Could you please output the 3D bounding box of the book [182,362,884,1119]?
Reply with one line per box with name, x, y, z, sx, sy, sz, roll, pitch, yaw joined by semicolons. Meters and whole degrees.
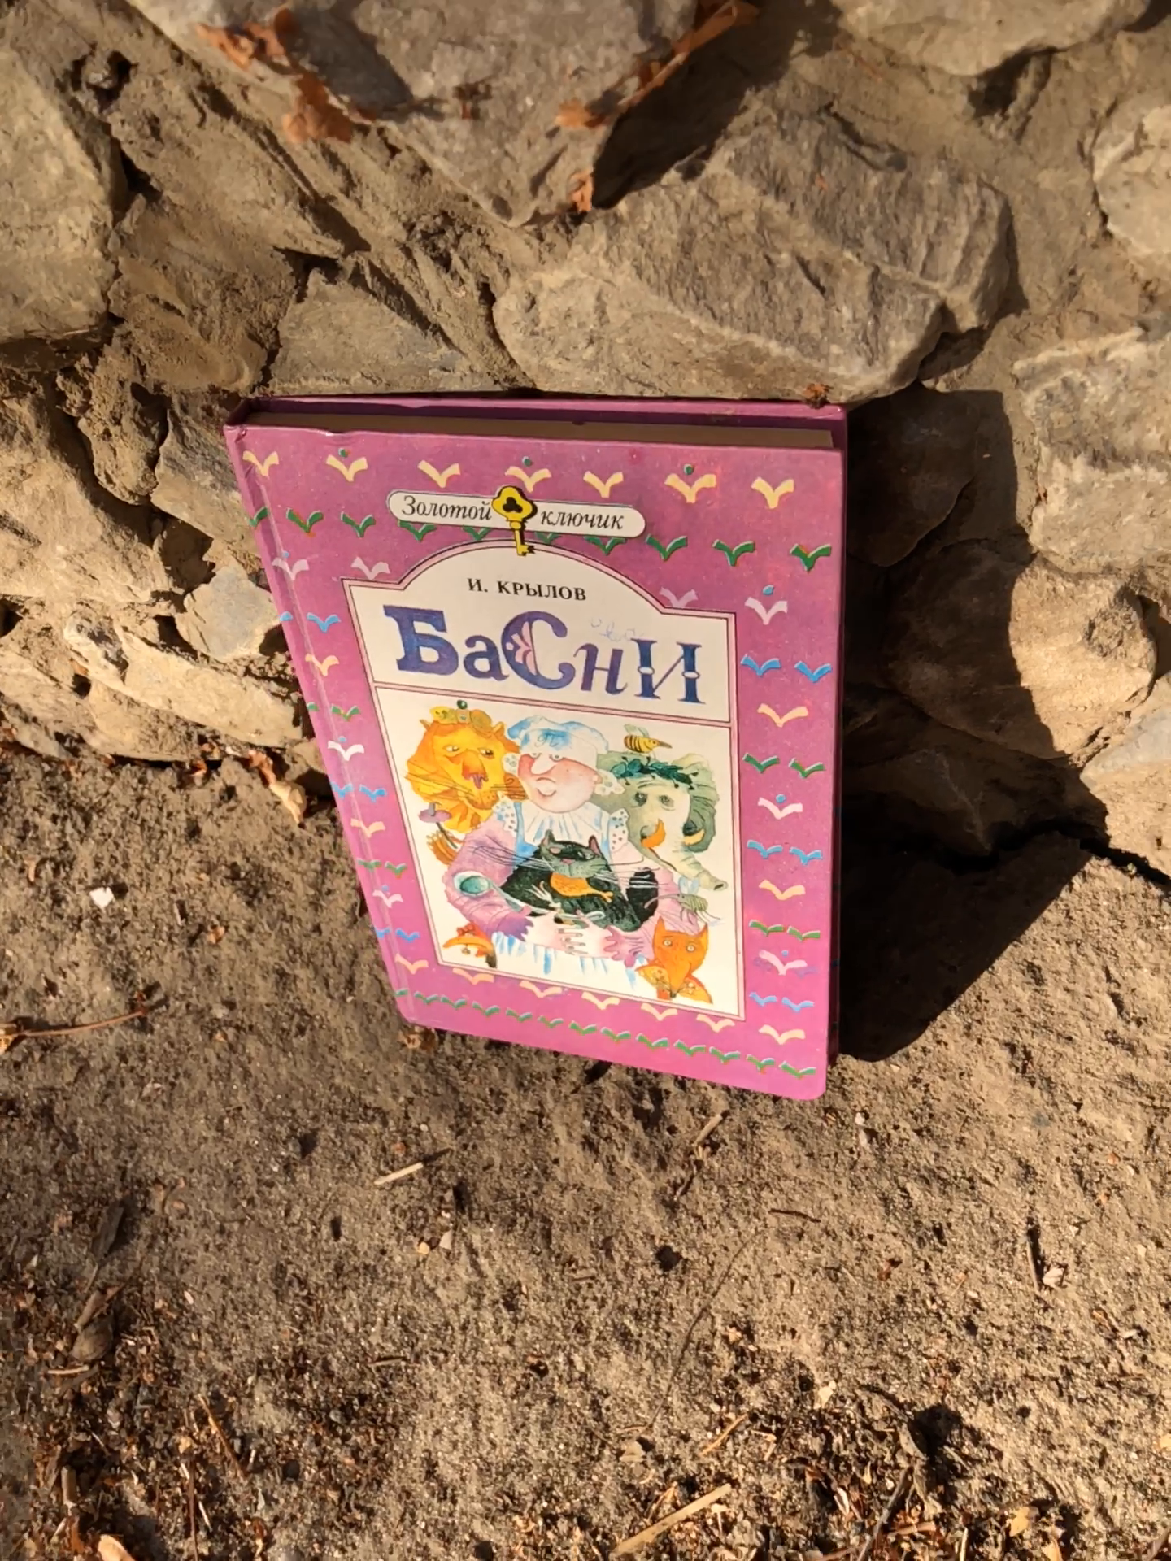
book;-0.005;0.000;0.325;0.142;0.201;0.025;7;41;16
